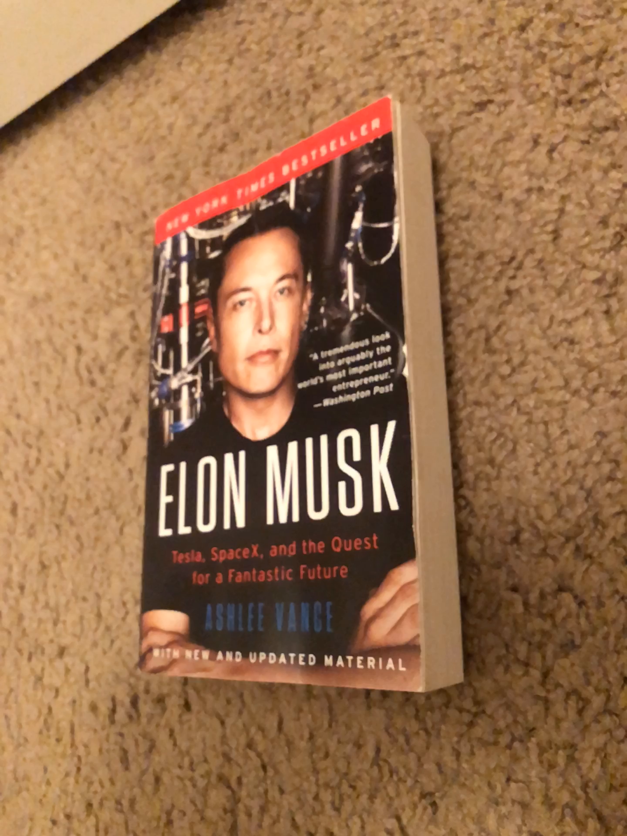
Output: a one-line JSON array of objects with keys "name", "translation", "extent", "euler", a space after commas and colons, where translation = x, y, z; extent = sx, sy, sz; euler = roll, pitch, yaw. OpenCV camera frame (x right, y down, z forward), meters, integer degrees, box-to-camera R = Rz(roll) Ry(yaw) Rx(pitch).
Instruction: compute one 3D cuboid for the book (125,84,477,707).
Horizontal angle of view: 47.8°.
[{"name": "book", "translation": [-0.014, -0.004, 0.276], "extent": [0.136, 0.033, 0.202], "euler": [-12, 72, 38]}]
